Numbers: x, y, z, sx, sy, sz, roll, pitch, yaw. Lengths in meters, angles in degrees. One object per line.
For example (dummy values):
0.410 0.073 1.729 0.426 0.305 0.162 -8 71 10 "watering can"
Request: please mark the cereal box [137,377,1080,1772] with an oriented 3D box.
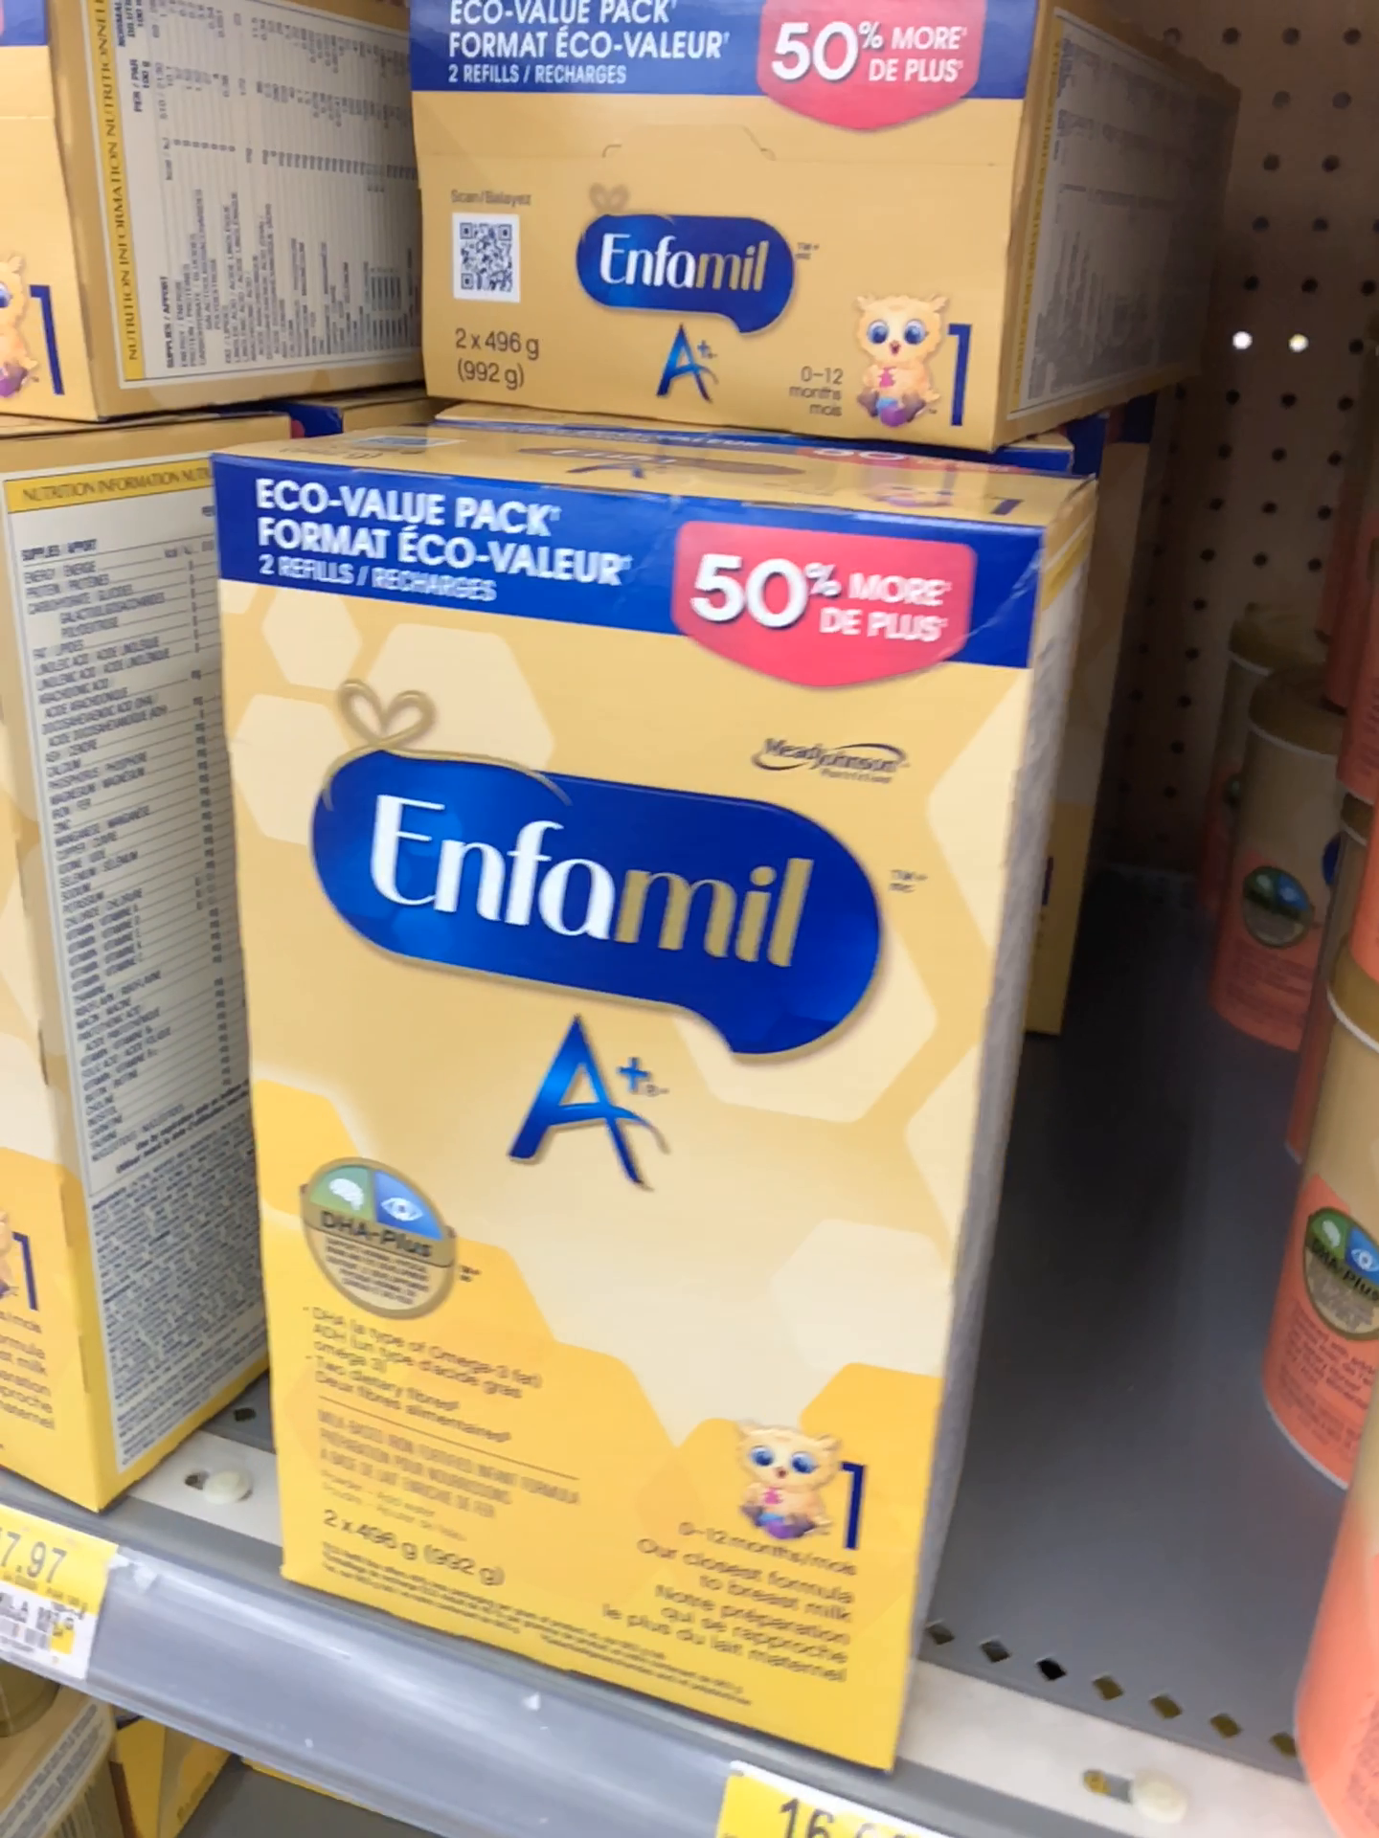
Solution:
-0.015 0.029 0.321 0.150 0.258 0.080 9 23 16 "cereal box"
